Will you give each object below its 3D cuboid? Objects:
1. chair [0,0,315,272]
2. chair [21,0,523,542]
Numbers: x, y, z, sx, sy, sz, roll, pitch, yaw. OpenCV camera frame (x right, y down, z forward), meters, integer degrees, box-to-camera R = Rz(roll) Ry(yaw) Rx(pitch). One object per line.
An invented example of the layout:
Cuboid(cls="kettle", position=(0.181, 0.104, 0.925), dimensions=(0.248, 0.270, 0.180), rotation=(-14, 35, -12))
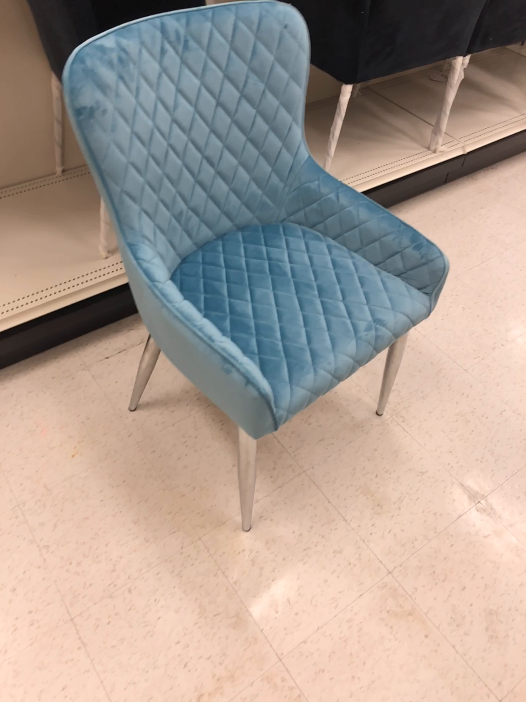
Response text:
Cuboid(cls="chair", position=(-0.301, -0.757, 1.544), dimensions=(0.581, 0.777, 0.561), rotation=(-21, 52, -22))
Cuboid(cls="chair", position=(-0.009, -0.167, 1.249), dimensions=(0.561, 0.871, 0.584), rotation=(-32, 57, -29))
